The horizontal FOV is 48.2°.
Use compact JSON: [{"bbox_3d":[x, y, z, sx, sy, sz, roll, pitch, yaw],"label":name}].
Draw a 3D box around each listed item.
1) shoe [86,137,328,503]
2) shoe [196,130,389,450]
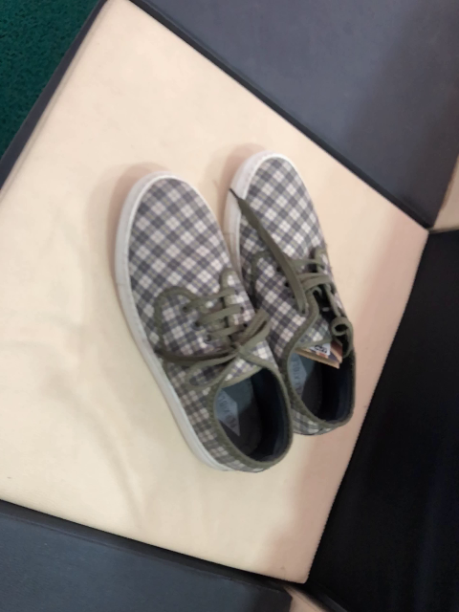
[{"bbox_3d":[-0.022,0.011,0.449,0.100,0.100,0.270,-23,100,-18],"label":"shoe"},{"bbox_3d":[0.057,-0.016,0.489,0.100,0.100,0.260,-14,96,-20],"label":"shoe"}]
